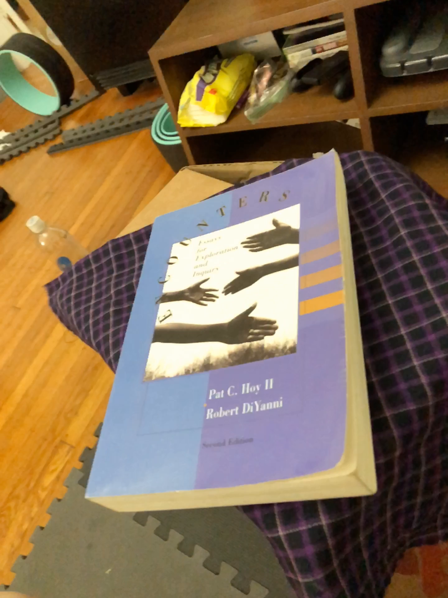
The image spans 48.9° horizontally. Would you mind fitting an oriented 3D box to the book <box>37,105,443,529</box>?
[{"bbox_3d":[0.008,0.001,0.319,0.200,0.040,0.261,-14,47,25],"label":"book"}]
